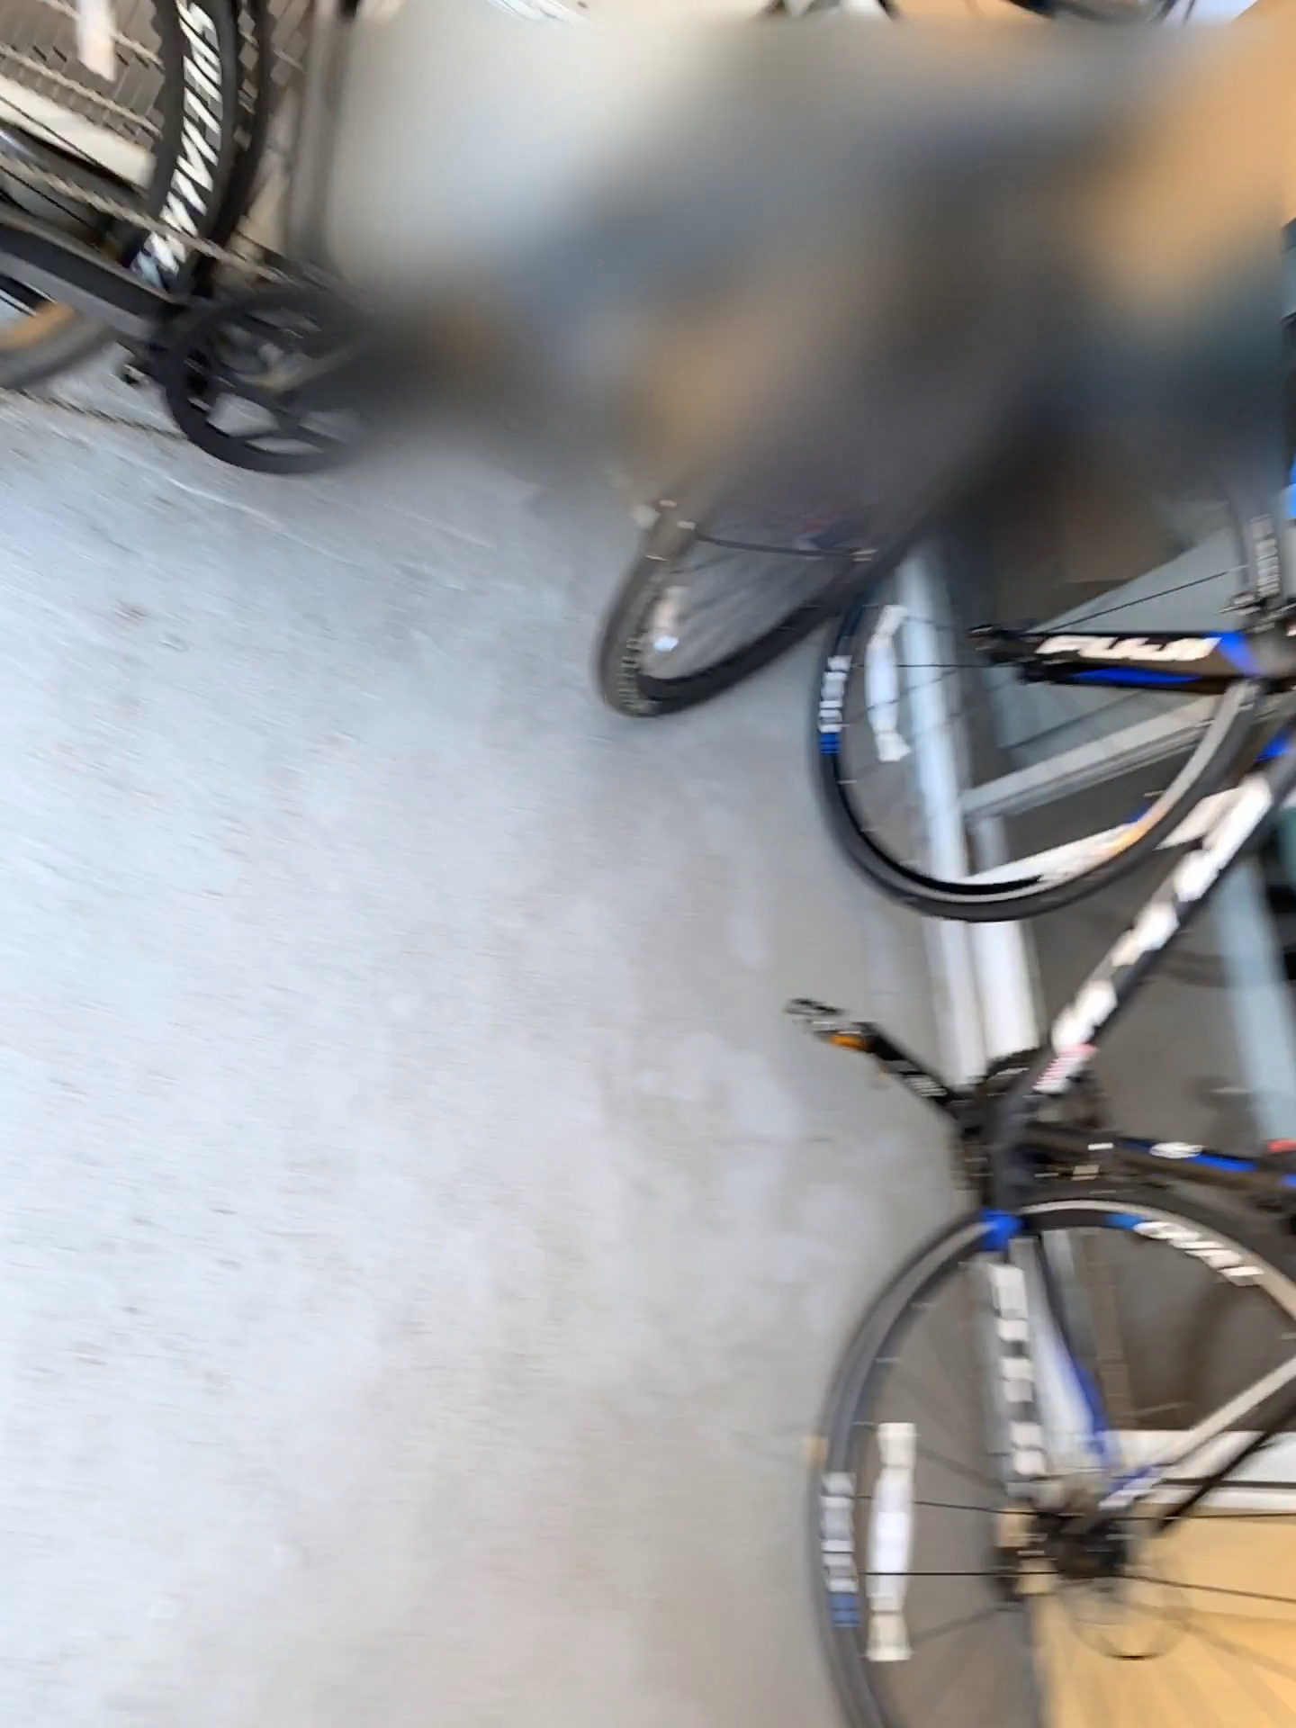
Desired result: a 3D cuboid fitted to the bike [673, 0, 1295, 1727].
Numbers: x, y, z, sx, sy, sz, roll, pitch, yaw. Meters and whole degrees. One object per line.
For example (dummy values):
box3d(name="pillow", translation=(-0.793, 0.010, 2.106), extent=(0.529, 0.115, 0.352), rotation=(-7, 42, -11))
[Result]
box3d(name="bike", translation=(0.532, 0.154, 1.240), extent=(0.365, 0.931, 1.501), rotation=(20, 64, -36))

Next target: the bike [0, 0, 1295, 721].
box3d(name="bike", translation=(-0.081, -0.670, 0.996), extent=(1.595, 0.970, 0.621), rotation=(4, 70, -43))
